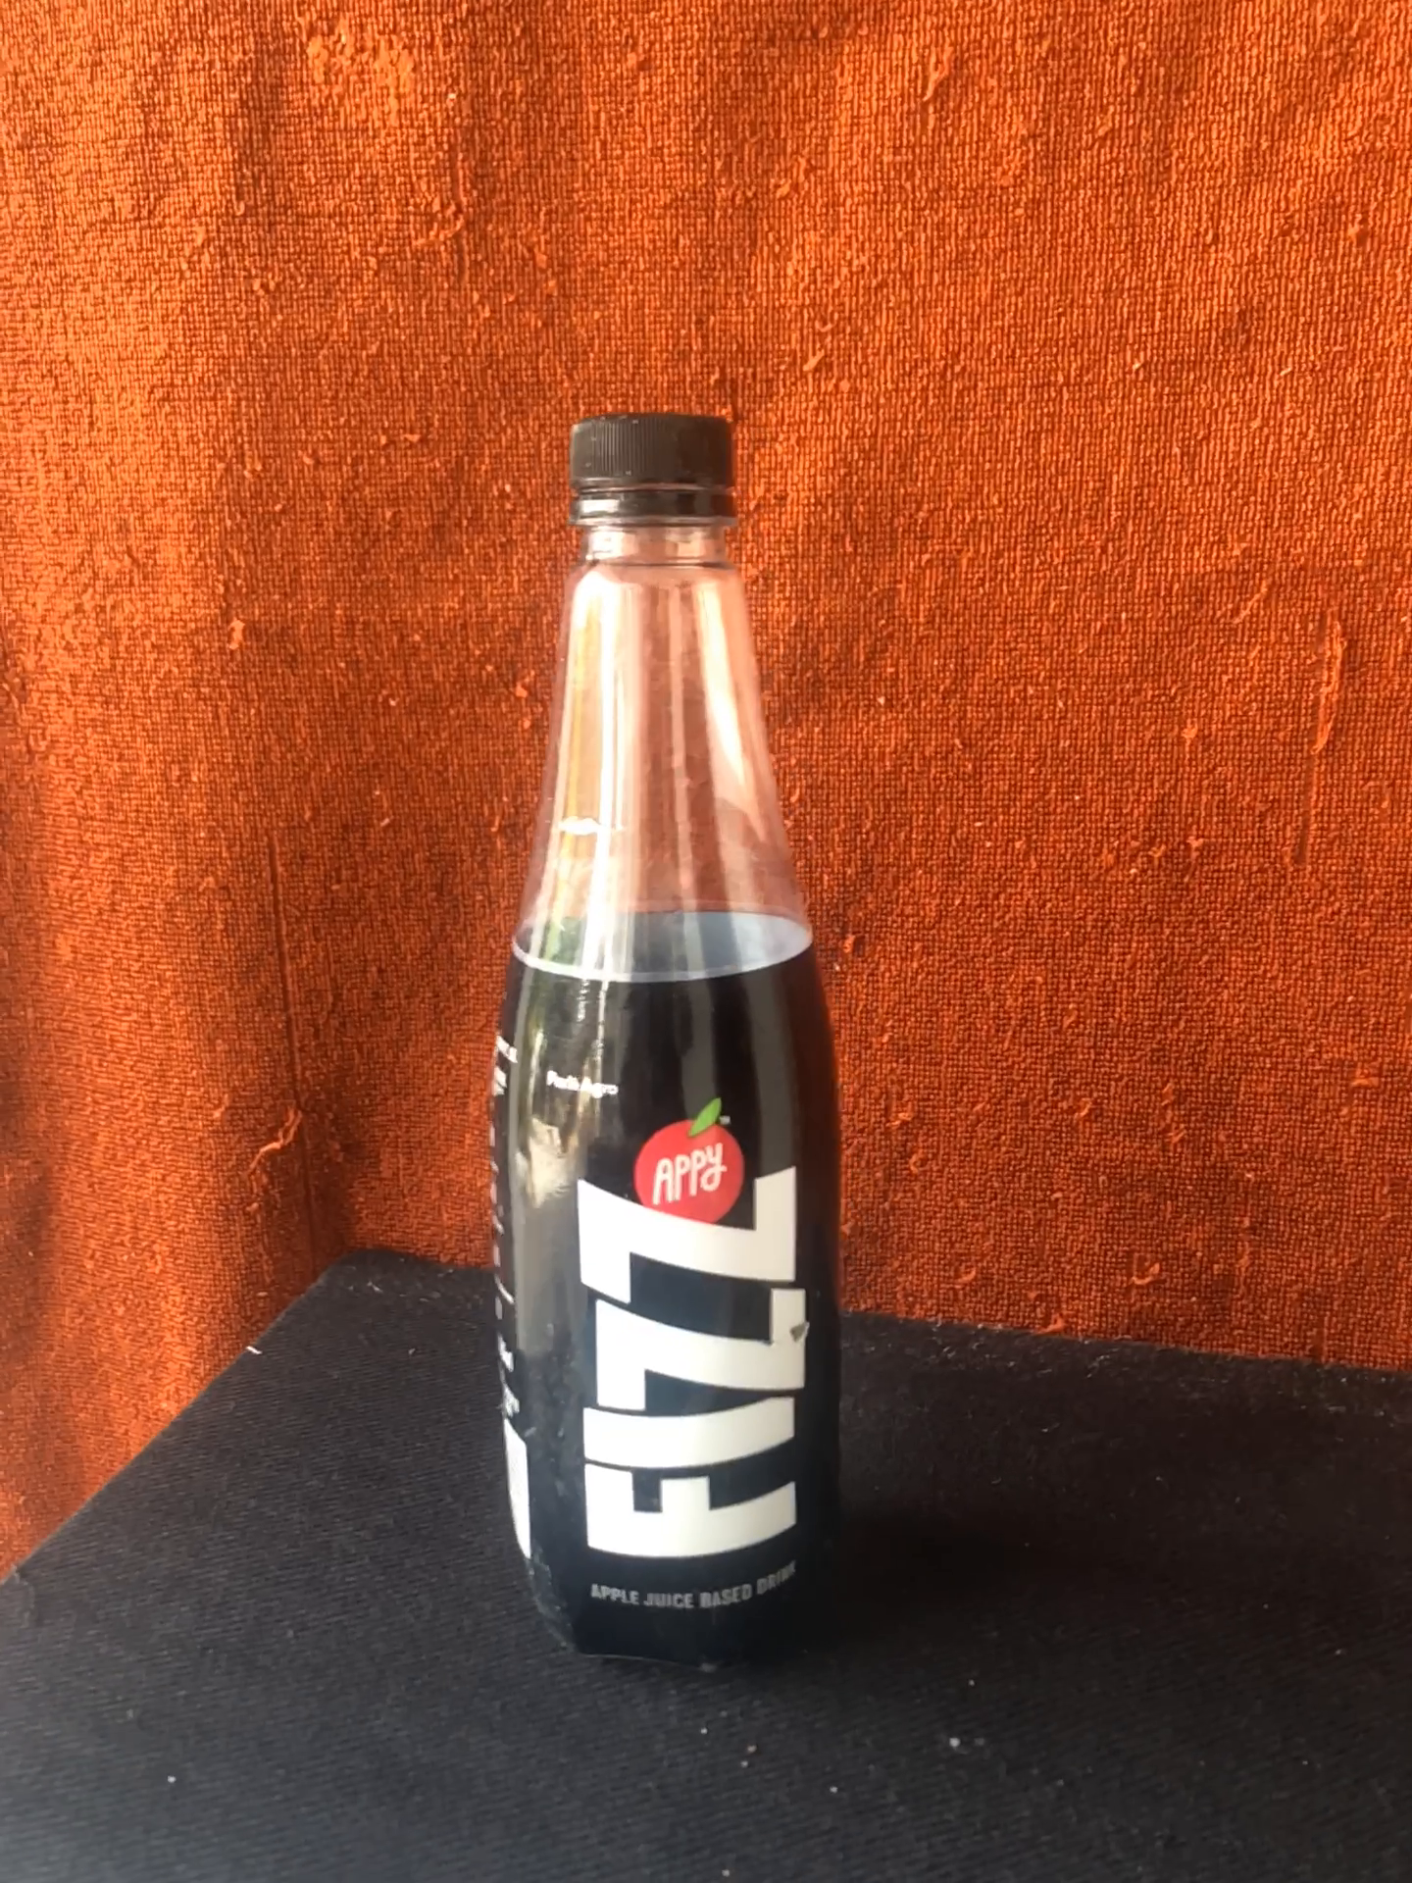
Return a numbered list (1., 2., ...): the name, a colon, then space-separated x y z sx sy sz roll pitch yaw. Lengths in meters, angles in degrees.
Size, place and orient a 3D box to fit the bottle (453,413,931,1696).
1. bottle: -0.007 0.021 0.286 0.070 0.219 0.060 -2 16 -9
